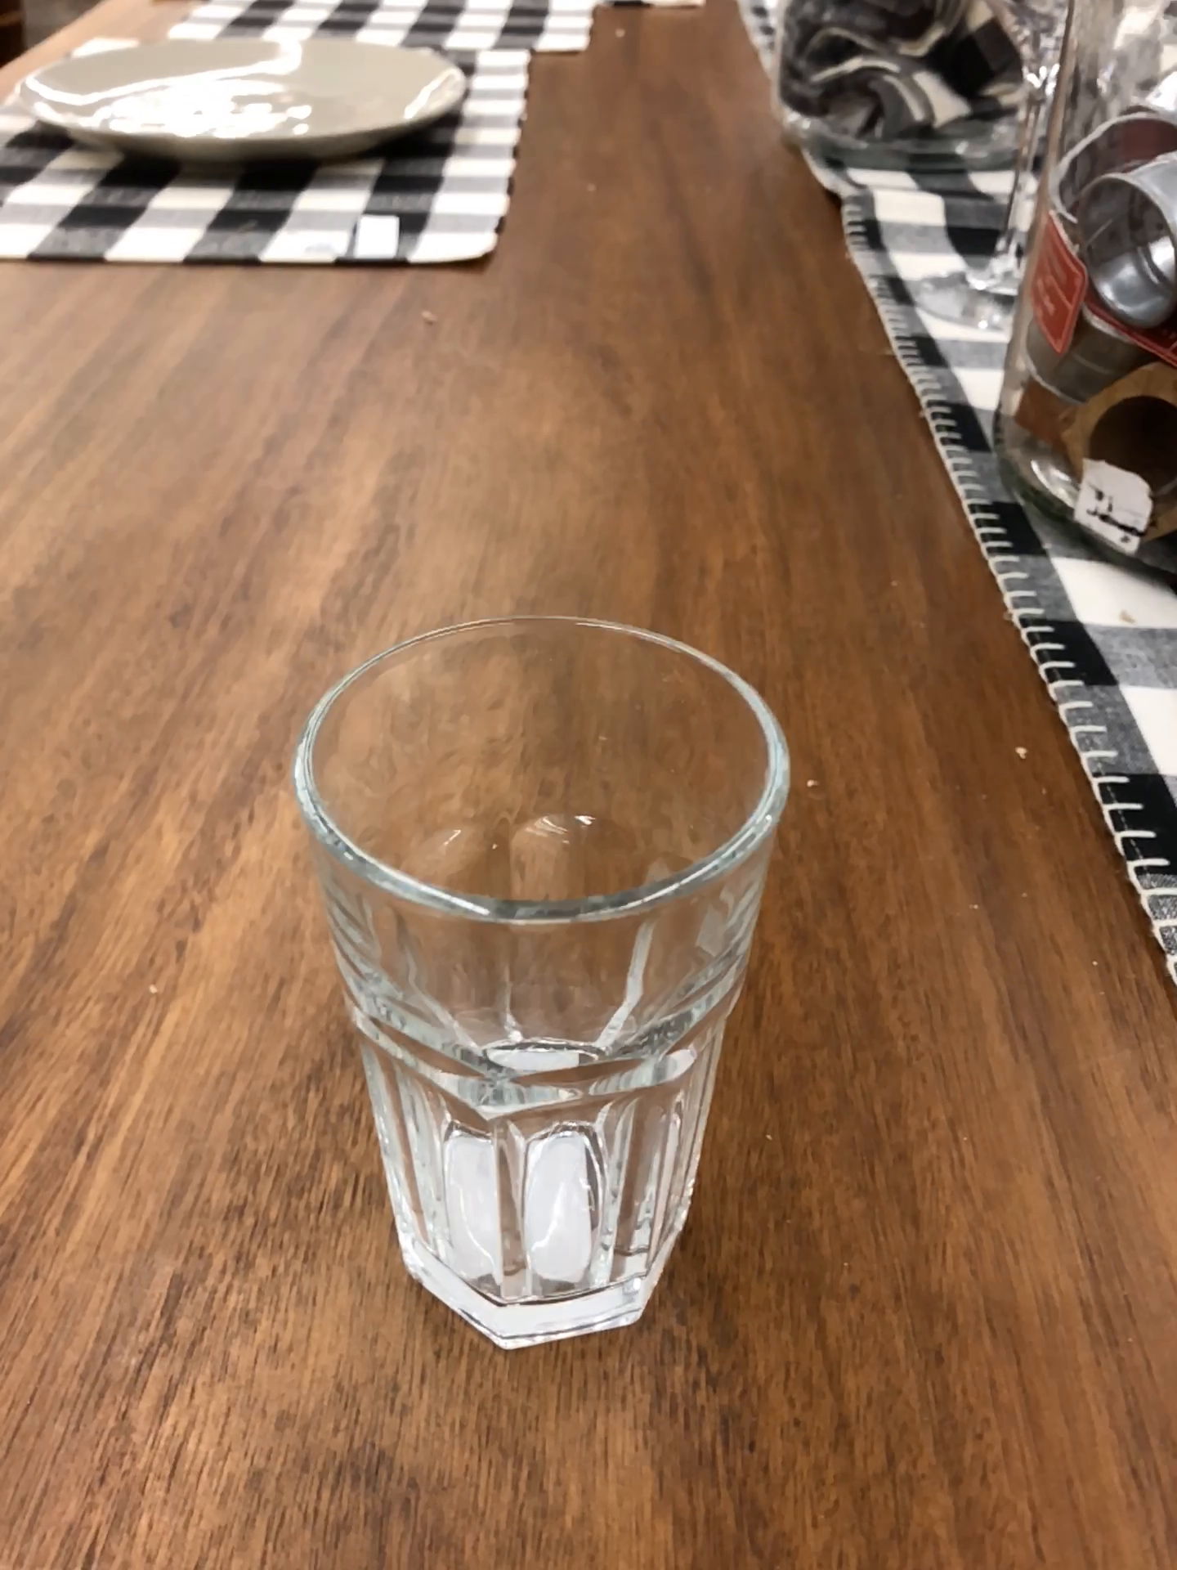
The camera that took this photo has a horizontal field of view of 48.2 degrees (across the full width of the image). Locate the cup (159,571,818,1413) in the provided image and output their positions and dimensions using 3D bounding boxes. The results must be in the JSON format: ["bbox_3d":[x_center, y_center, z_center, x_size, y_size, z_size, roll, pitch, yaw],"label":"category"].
[{"bbox_3d":[-0.008,0.031,0.202,0.070,0.095,0.072,1,39,-1],"label":"cup"}]
